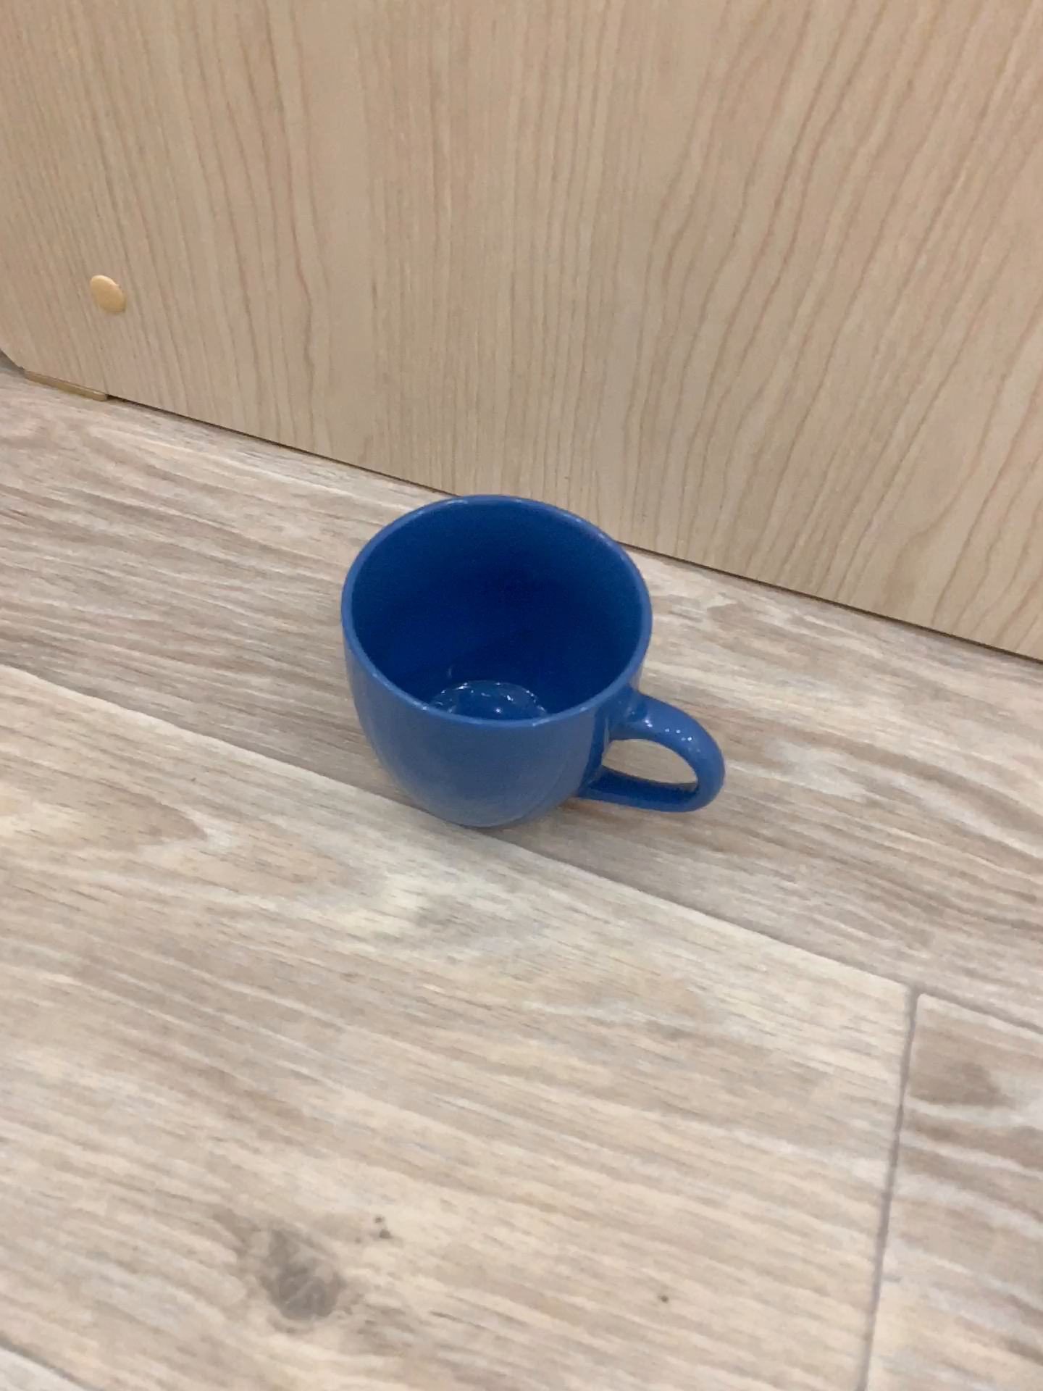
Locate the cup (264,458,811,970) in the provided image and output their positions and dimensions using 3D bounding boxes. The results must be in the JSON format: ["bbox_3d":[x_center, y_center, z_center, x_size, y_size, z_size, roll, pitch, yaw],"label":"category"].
[{"bbox_3d":[0.004,0.003,0.299,0.117,0.074,0.078,22,53,12],"label":"cup"}]
